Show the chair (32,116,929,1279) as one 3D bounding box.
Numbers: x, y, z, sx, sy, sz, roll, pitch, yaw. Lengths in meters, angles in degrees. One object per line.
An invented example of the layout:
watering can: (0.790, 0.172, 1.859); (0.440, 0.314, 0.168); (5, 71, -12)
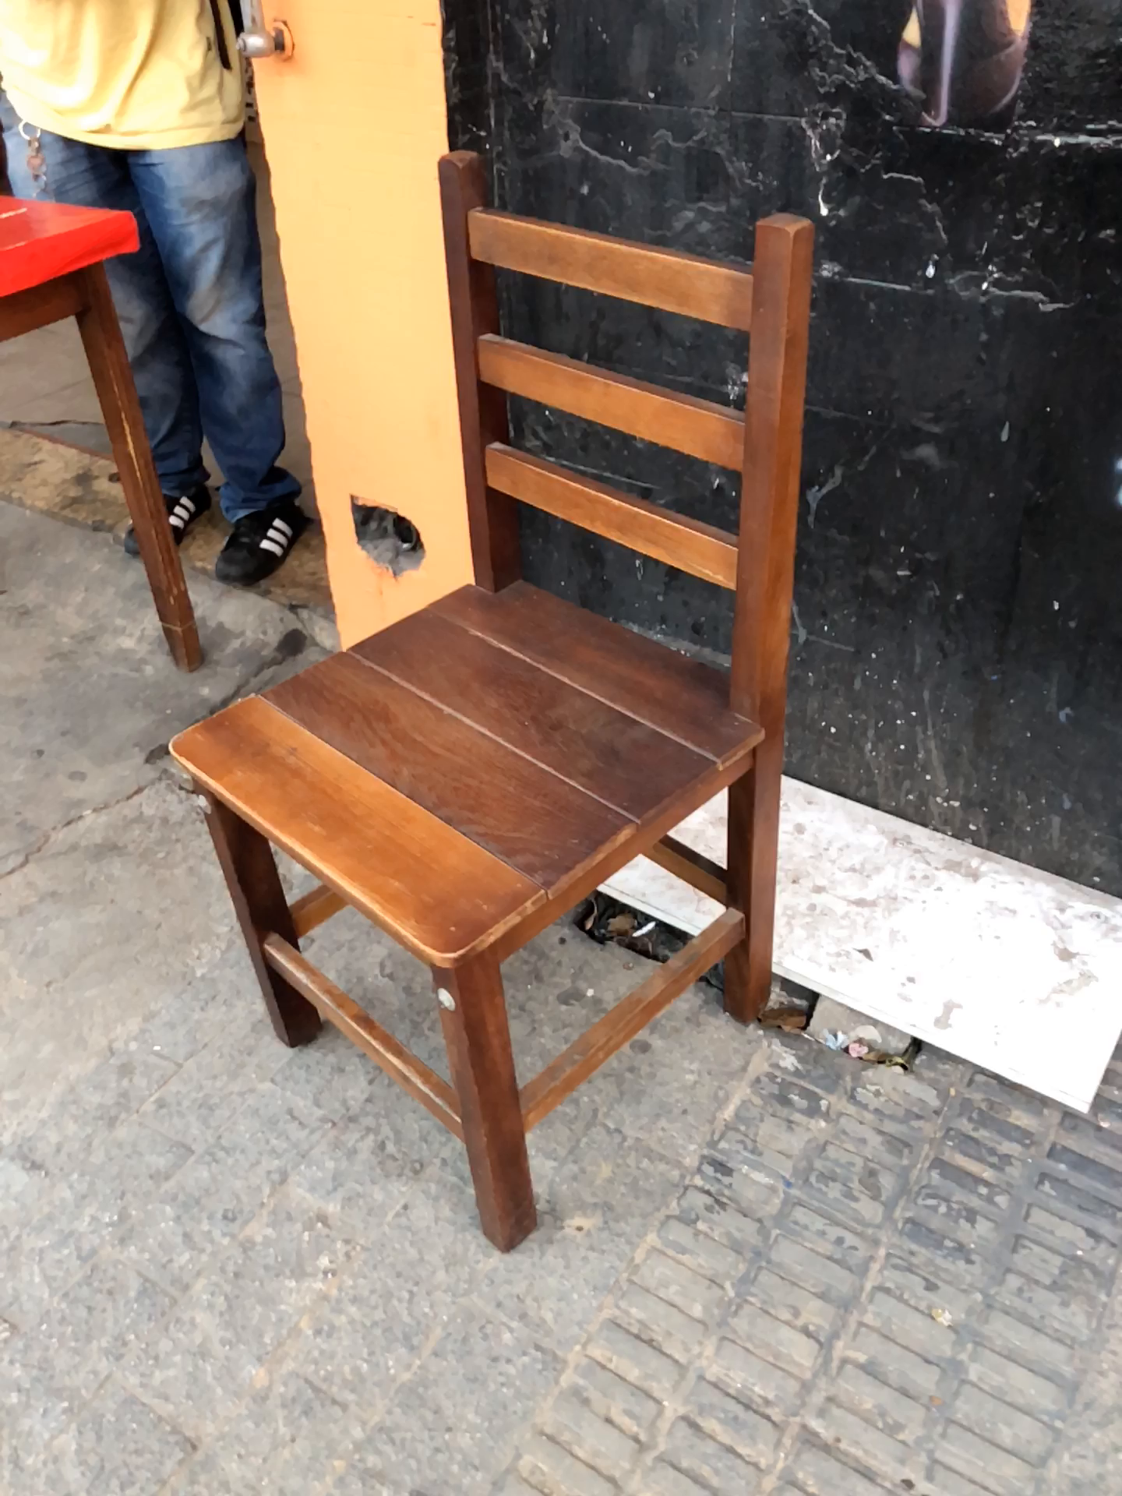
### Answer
chair: (-0.047, -0.056, 1.191); (0.502, 0.893, 0.462); (-30, 44, -33)
